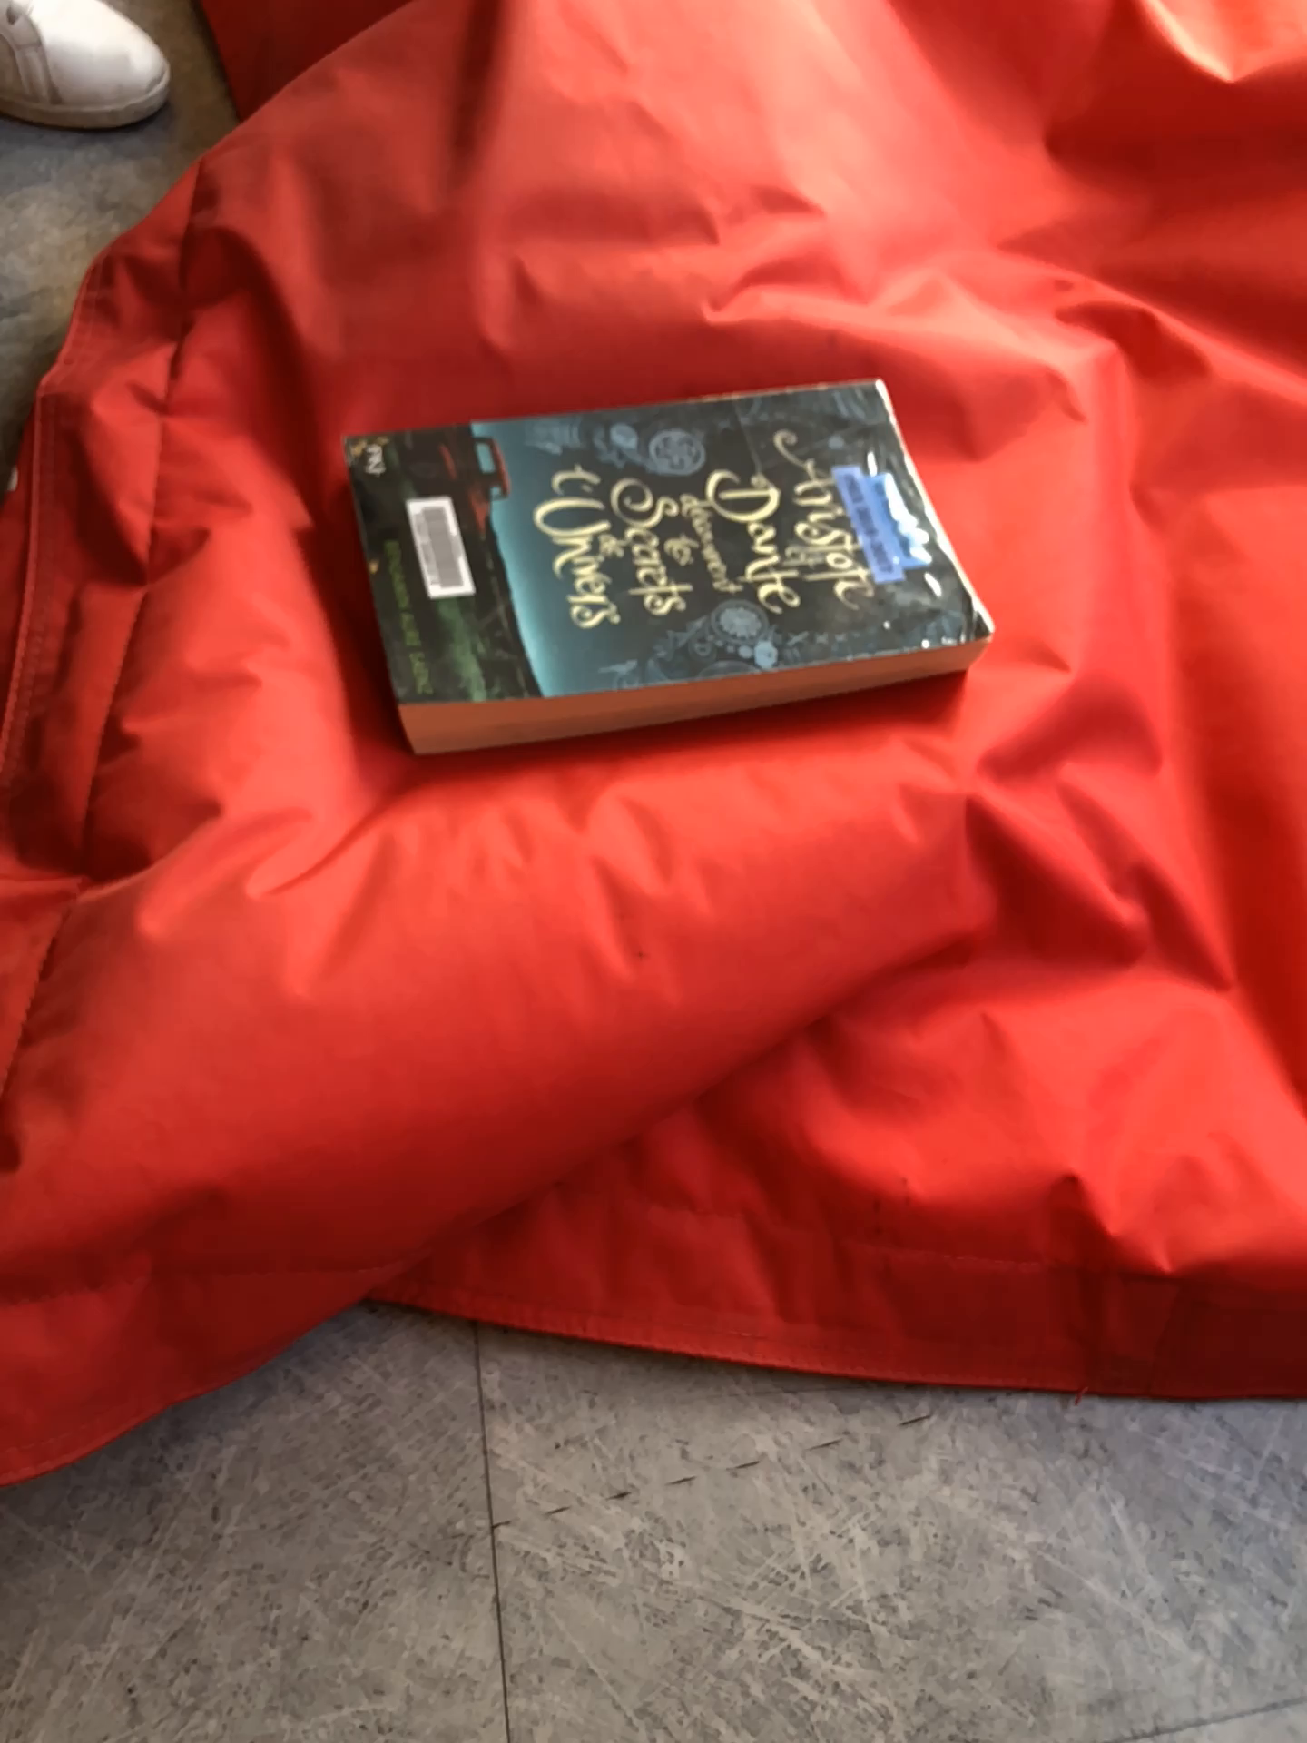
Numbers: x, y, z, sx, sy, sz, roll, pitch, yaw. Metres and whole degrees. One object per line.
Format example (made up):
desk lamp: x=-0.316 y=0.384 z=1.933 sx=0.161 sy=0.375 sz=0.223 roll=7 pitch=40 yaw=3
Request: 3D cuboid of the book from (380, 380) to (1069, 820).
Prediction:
book: x=0.021 y=-0.112 z=0.565 sx=0.229 sy=0.048 sz=0.149 roll=-10 pitch=58 yaw=-11
